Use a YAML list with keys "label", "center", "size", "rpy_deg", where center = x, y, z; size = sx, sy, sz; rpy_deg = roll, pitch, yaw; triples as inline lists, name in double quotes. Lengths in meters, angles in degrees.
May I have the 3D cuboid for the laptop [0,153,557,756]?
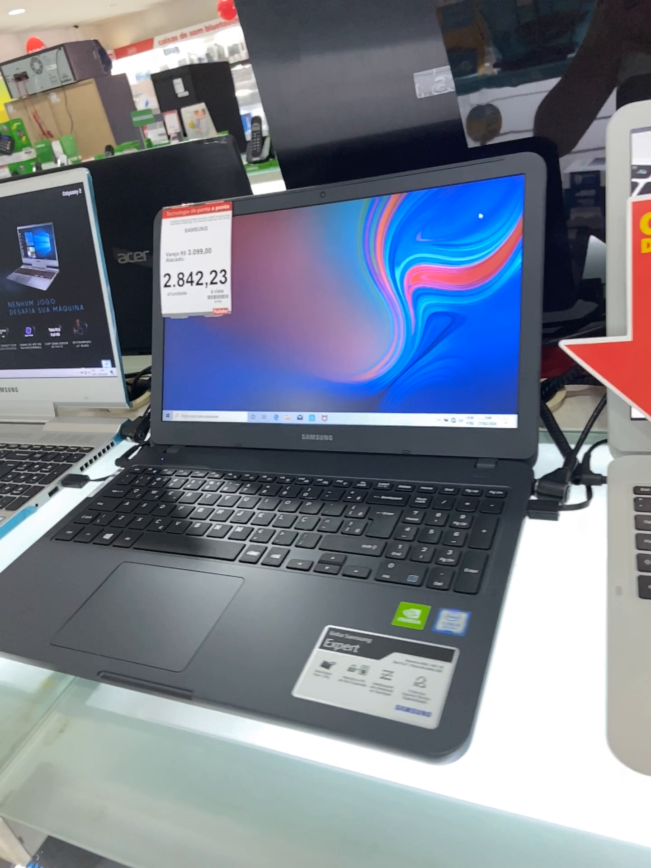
- label: "laptop"
  center: [-0.053, -0.035, 0.487]
  size: [0.367, 0.193, 0.371]
  rpy_deg: [1, 32, 27]
